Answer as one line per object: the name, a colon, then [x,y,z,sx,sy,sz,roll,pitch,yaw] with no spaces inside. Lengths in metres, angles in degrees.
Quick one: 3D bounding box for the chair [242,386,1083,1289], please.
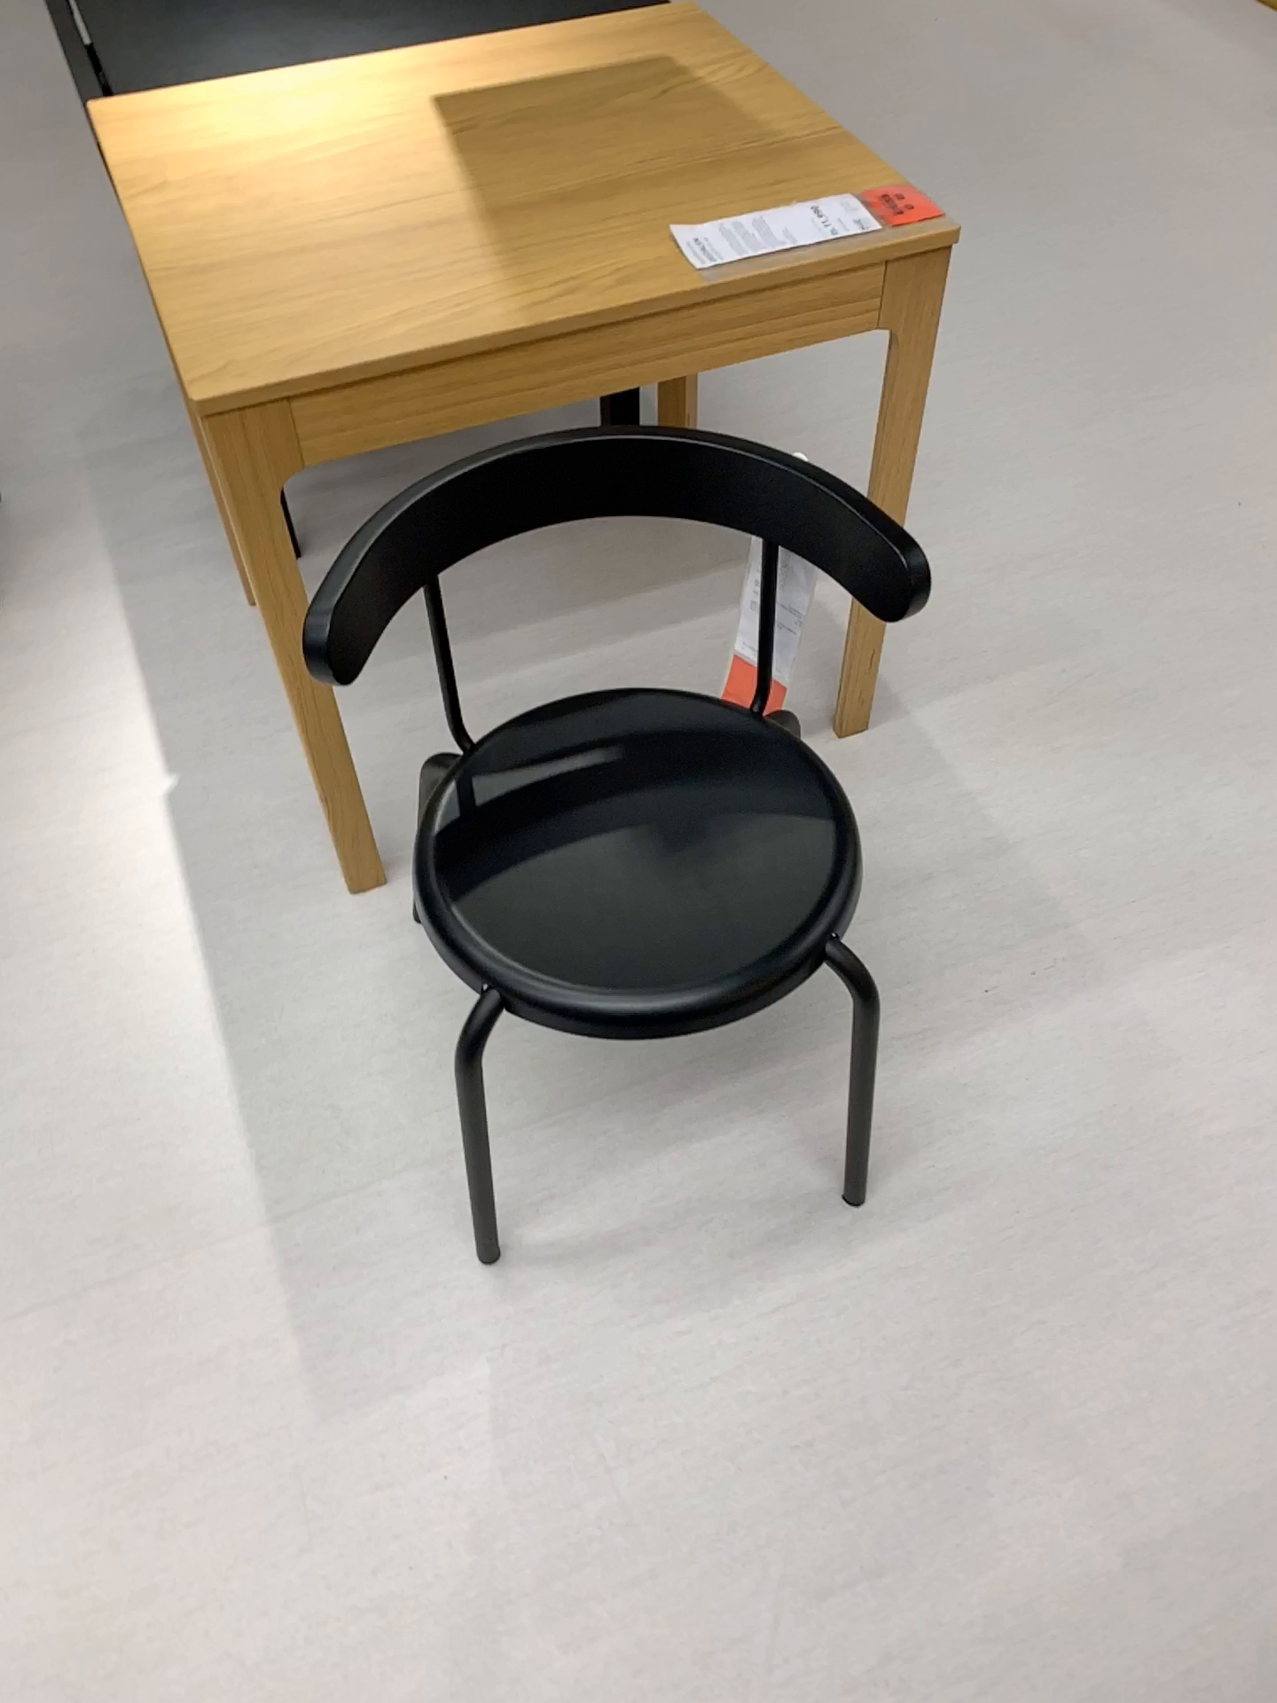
chair: [-0.018,-0.008,1.321,0.590,0.598,0.612,-7,51,-5]
